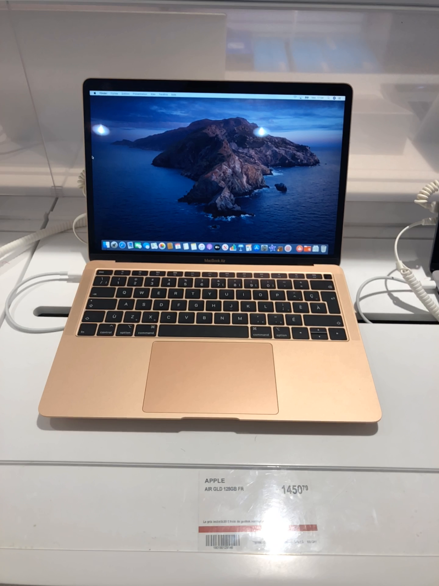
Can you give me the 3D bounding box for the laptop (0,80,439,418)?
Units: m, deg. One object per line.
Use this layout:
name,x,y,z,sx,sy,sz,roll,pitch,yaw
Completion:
laptop,-0.005,-0.060,0.477,0.291,0.170,0.305,1,44,-1
